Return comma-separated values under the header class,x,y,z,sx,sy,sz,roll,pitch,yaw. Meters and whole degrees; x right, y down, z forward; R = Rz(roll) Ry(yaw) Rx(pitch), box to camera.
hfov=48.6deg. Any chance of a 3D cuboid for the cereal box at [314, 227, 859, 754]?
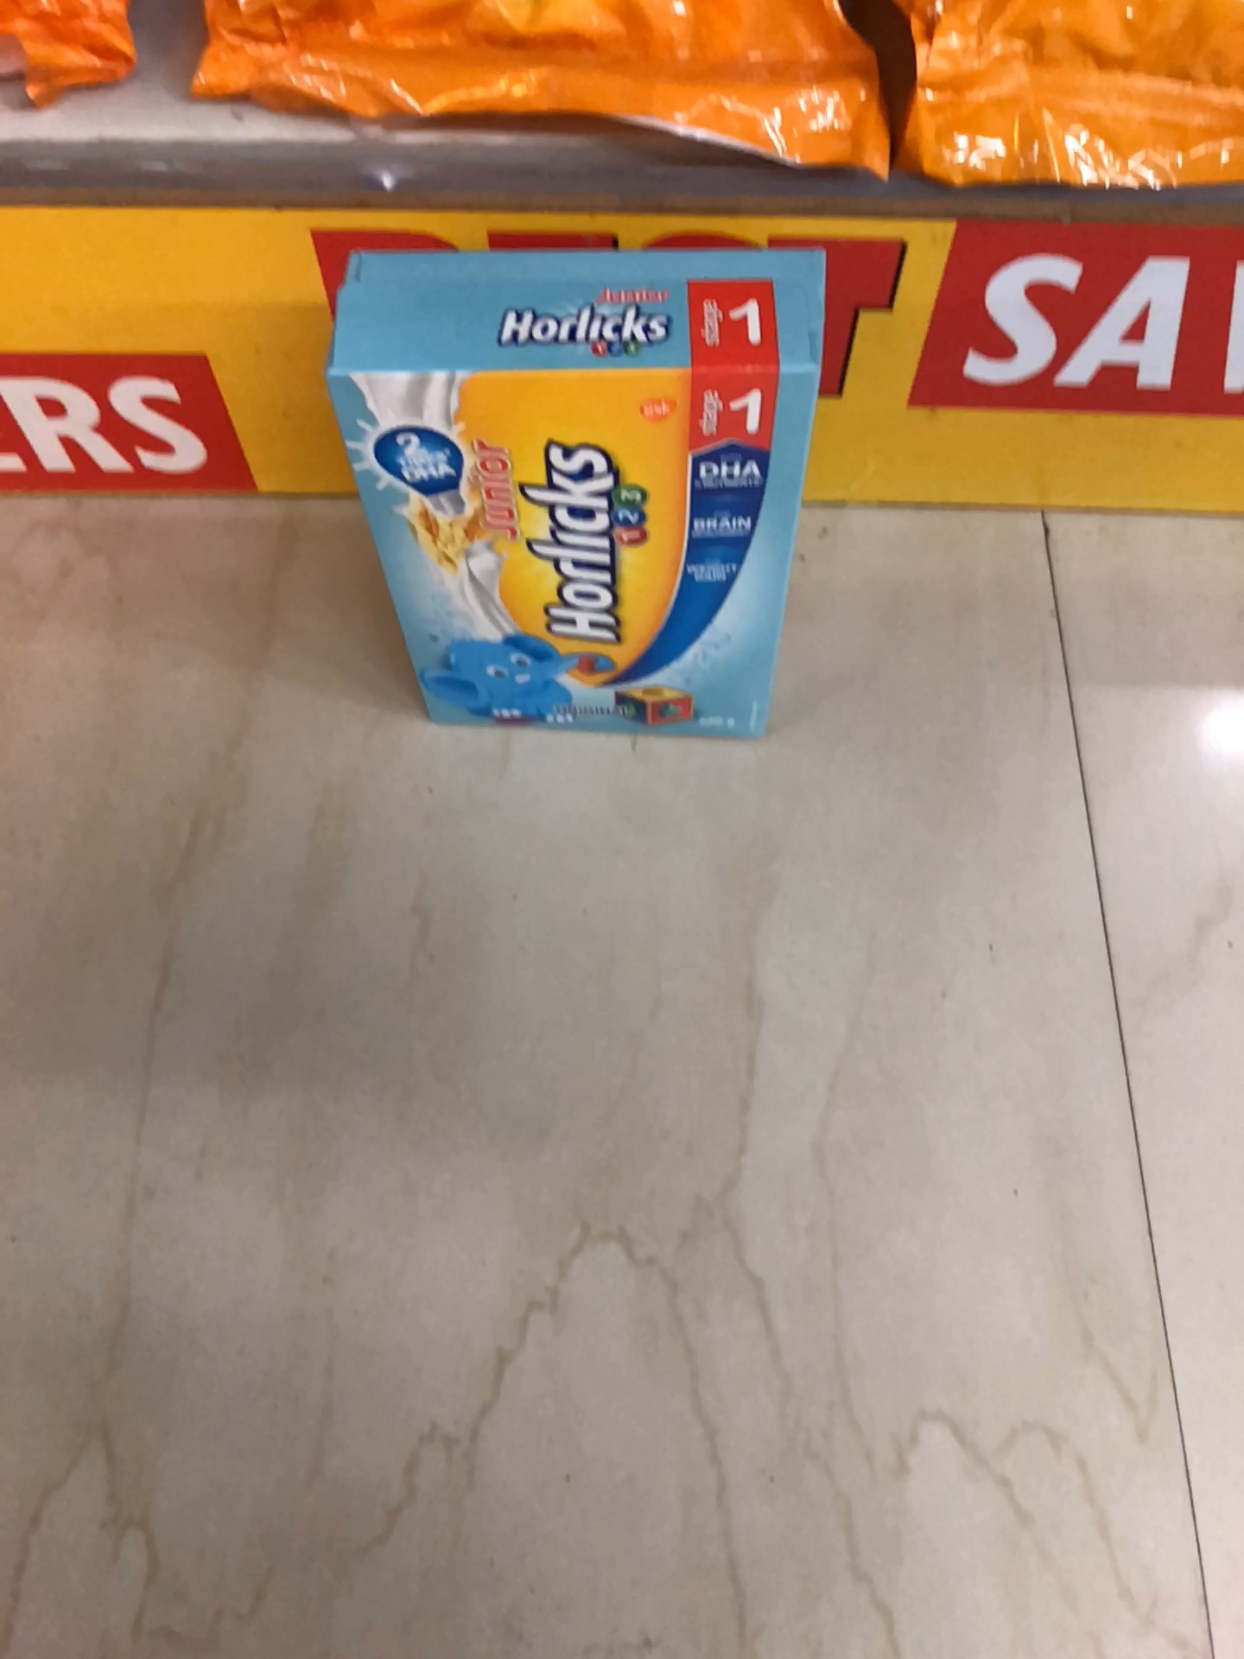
class,x,y,z,sx,sy,sz,roll,pitch,yaw
cereal box,-0.005,-0.097,0.454,0.140,0.199,0.050,3,66,3
